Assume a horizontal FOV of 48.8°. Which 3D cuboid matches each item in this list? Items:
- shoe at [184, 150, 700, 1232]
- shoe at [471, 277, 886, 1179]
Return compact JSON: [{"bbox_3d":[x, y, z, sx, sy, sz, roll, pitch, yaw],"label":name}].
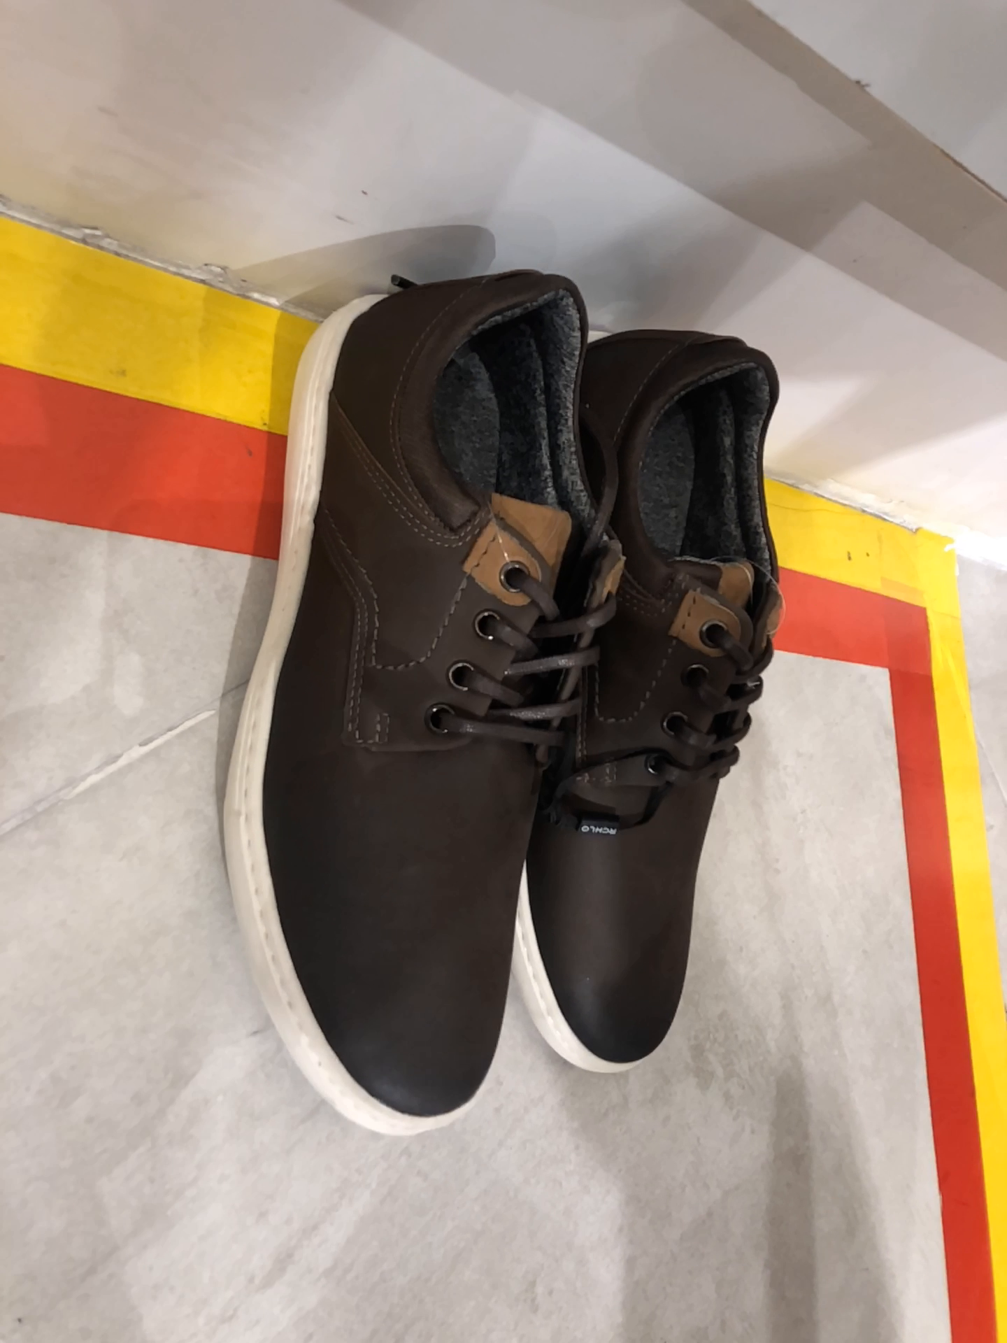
[{"bbox_3d":[-0.018,0.005,0.346,0.101,0.099,0.270,8,85,-40],"label":"shoe"},{"bbox_3d":[0.061,0.016,0.402,0.101,0.099,0.270,0,93,-41],"label":"shoe"}]
